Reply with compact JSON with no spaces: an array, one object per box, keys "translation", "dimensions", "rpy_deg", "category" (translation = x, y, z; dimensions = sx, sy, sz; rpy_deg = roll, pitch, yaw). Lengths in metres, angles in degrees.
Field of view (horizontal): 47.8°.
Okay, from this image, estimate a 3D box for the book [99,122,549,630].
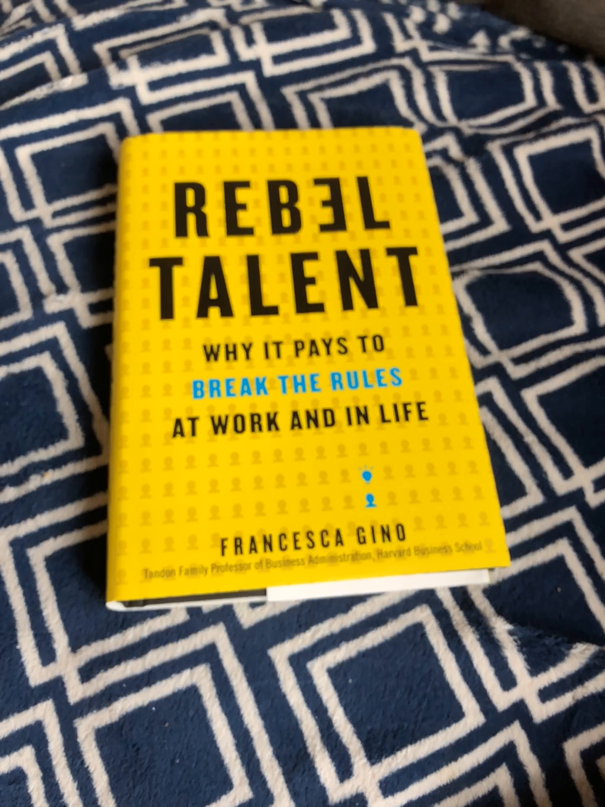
[{"translation":[-0.002,-0.029,0.314],"dimensions":[0.167,0.032,0.237],"rpy_deg":[-3,65,-6],"category":"book"}]
